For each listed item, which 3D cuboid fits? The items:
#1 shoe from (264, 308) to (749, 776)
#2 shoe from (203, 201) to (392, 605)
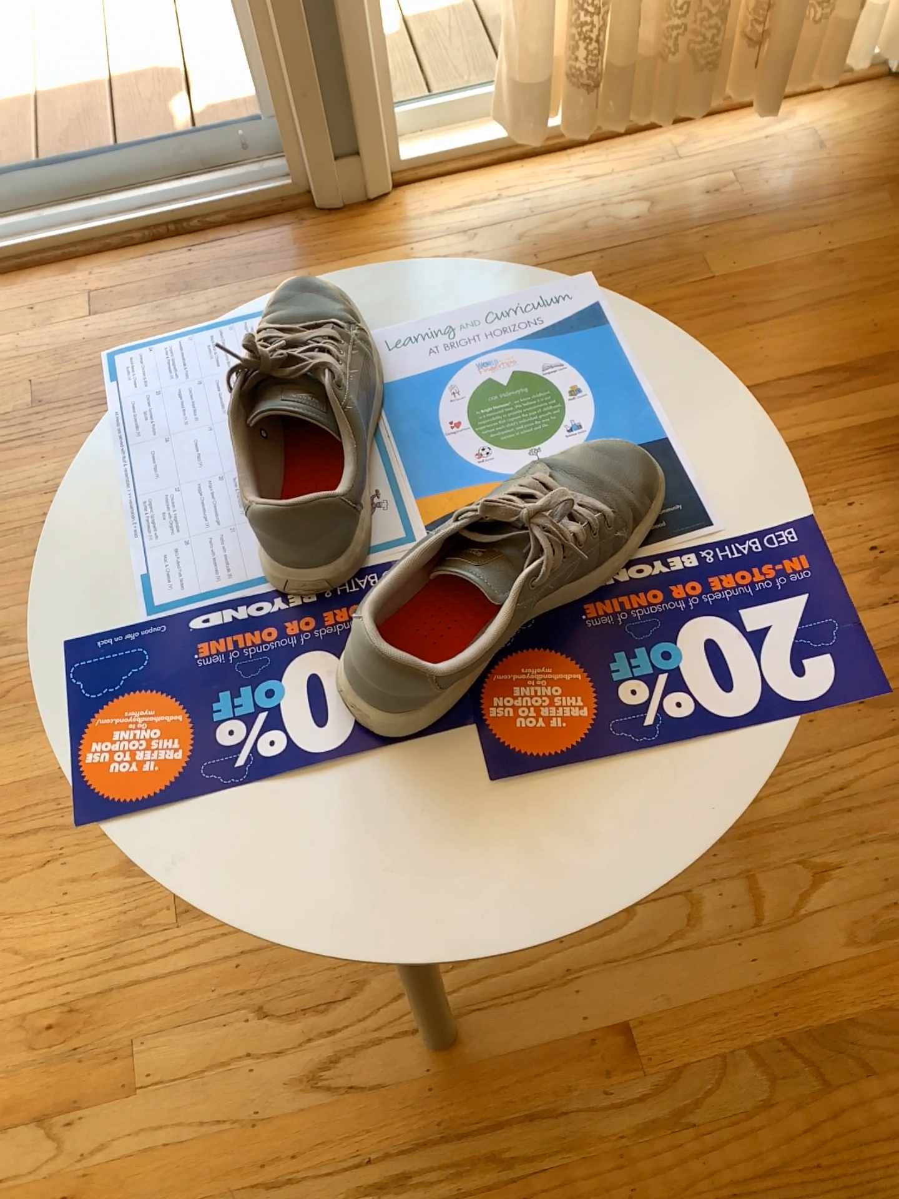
[{"bbox_3d":[0.041,-0.037,0.565,0.280,0.110,0.100,-40,66,-15],"label":"shoe"},{"bbox_3d":[-0.102,-0.143,0.652,0.100,0.100,0.270,-5,62,2],"label":"shoe"}]
